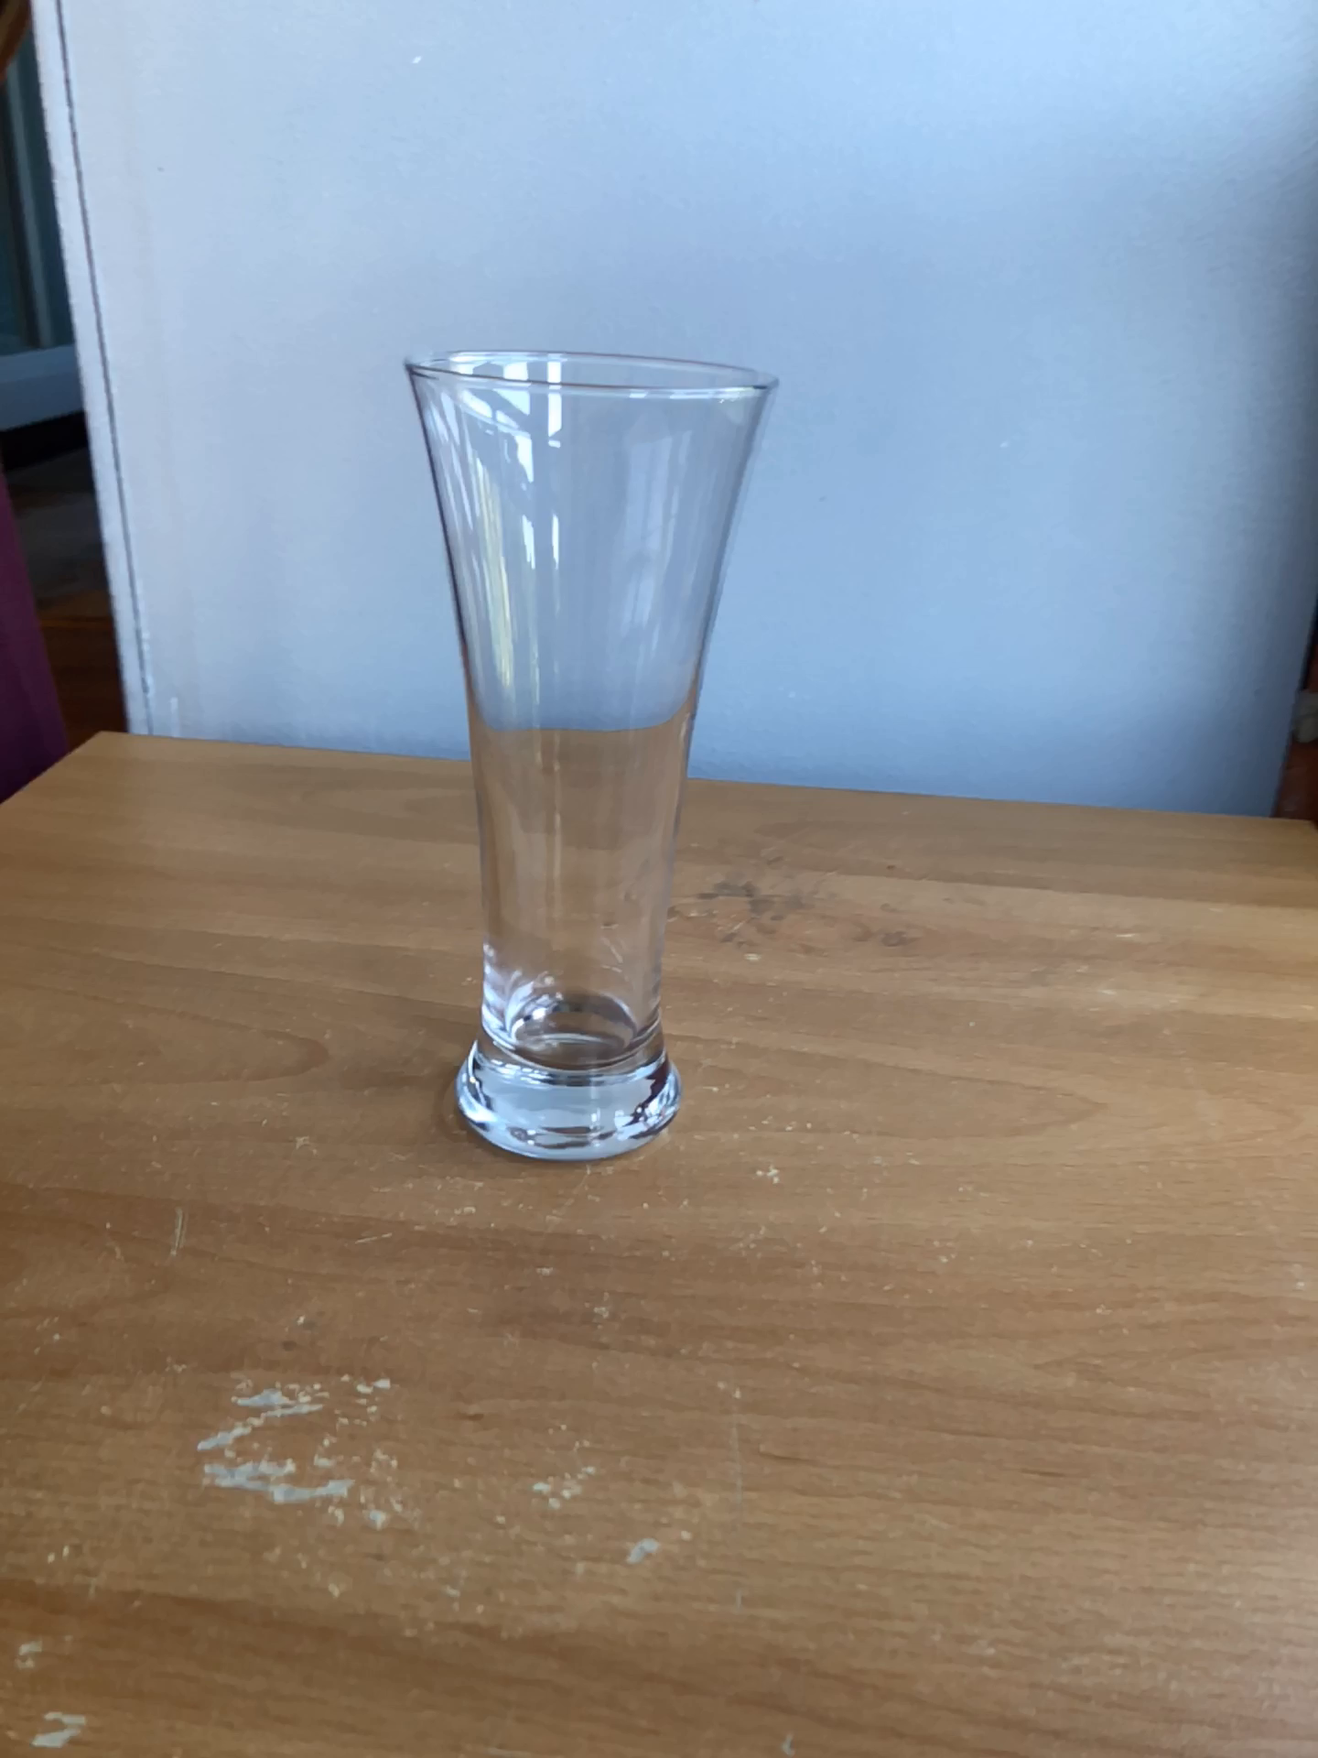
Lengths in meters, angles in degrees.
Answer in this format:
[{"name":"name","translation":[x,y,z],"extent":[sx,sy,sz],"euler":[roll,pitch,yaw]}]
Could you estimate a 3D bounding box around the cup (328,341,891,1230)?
[{"name":"cup","translation":[-0.014,-0.026,0.324],"extent":[0.076,0.168,0.083],"euler":[3,24,-1]}]
